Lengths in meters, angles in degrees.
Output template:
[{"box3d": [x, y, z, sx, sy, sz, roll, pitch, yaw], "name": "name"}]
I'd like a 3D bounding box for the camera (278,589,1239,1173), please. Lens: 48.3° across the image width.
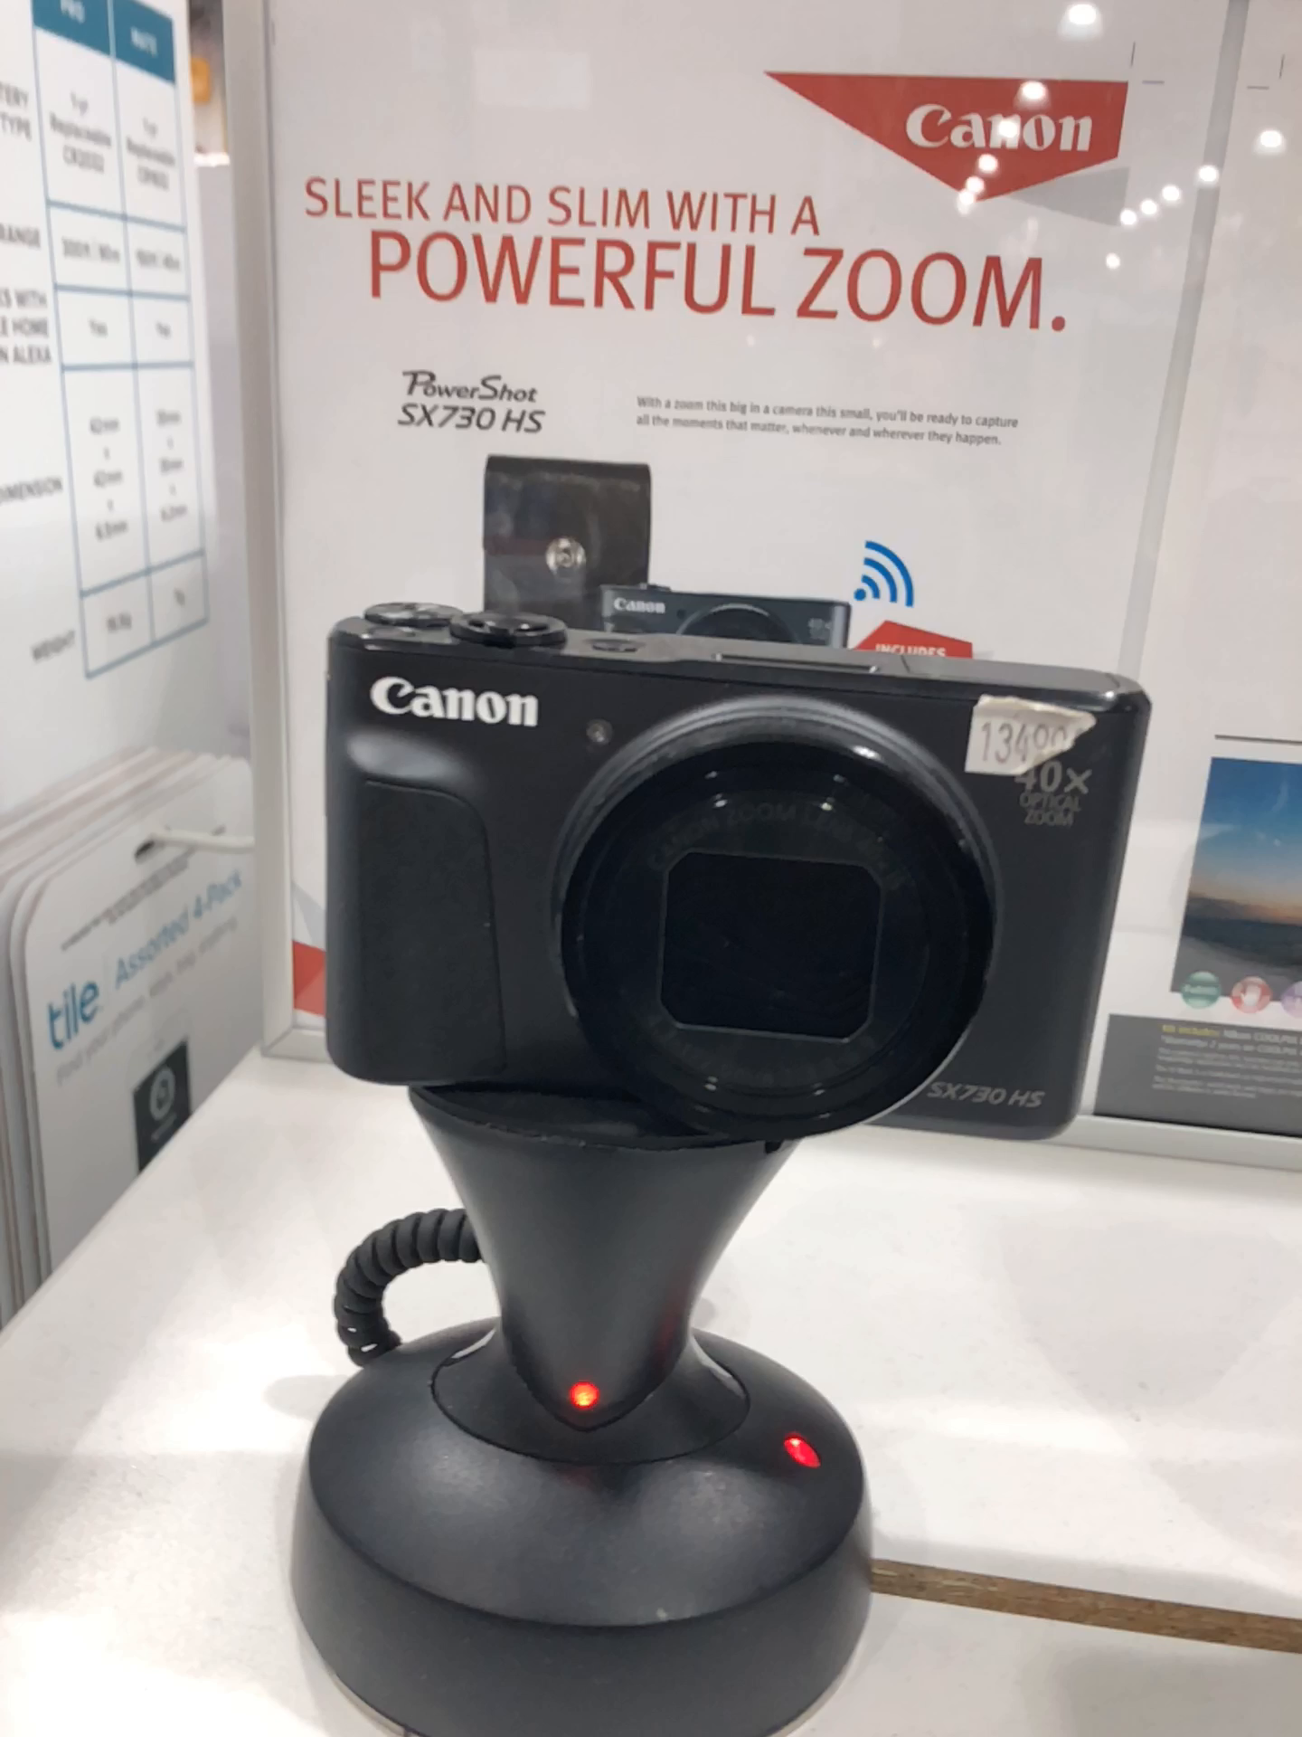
[{"box3d": [0.011, -0.001, 0.195, 0.110, 0.060, 0.040, 4, 19, 4], "name": "camera"}]
